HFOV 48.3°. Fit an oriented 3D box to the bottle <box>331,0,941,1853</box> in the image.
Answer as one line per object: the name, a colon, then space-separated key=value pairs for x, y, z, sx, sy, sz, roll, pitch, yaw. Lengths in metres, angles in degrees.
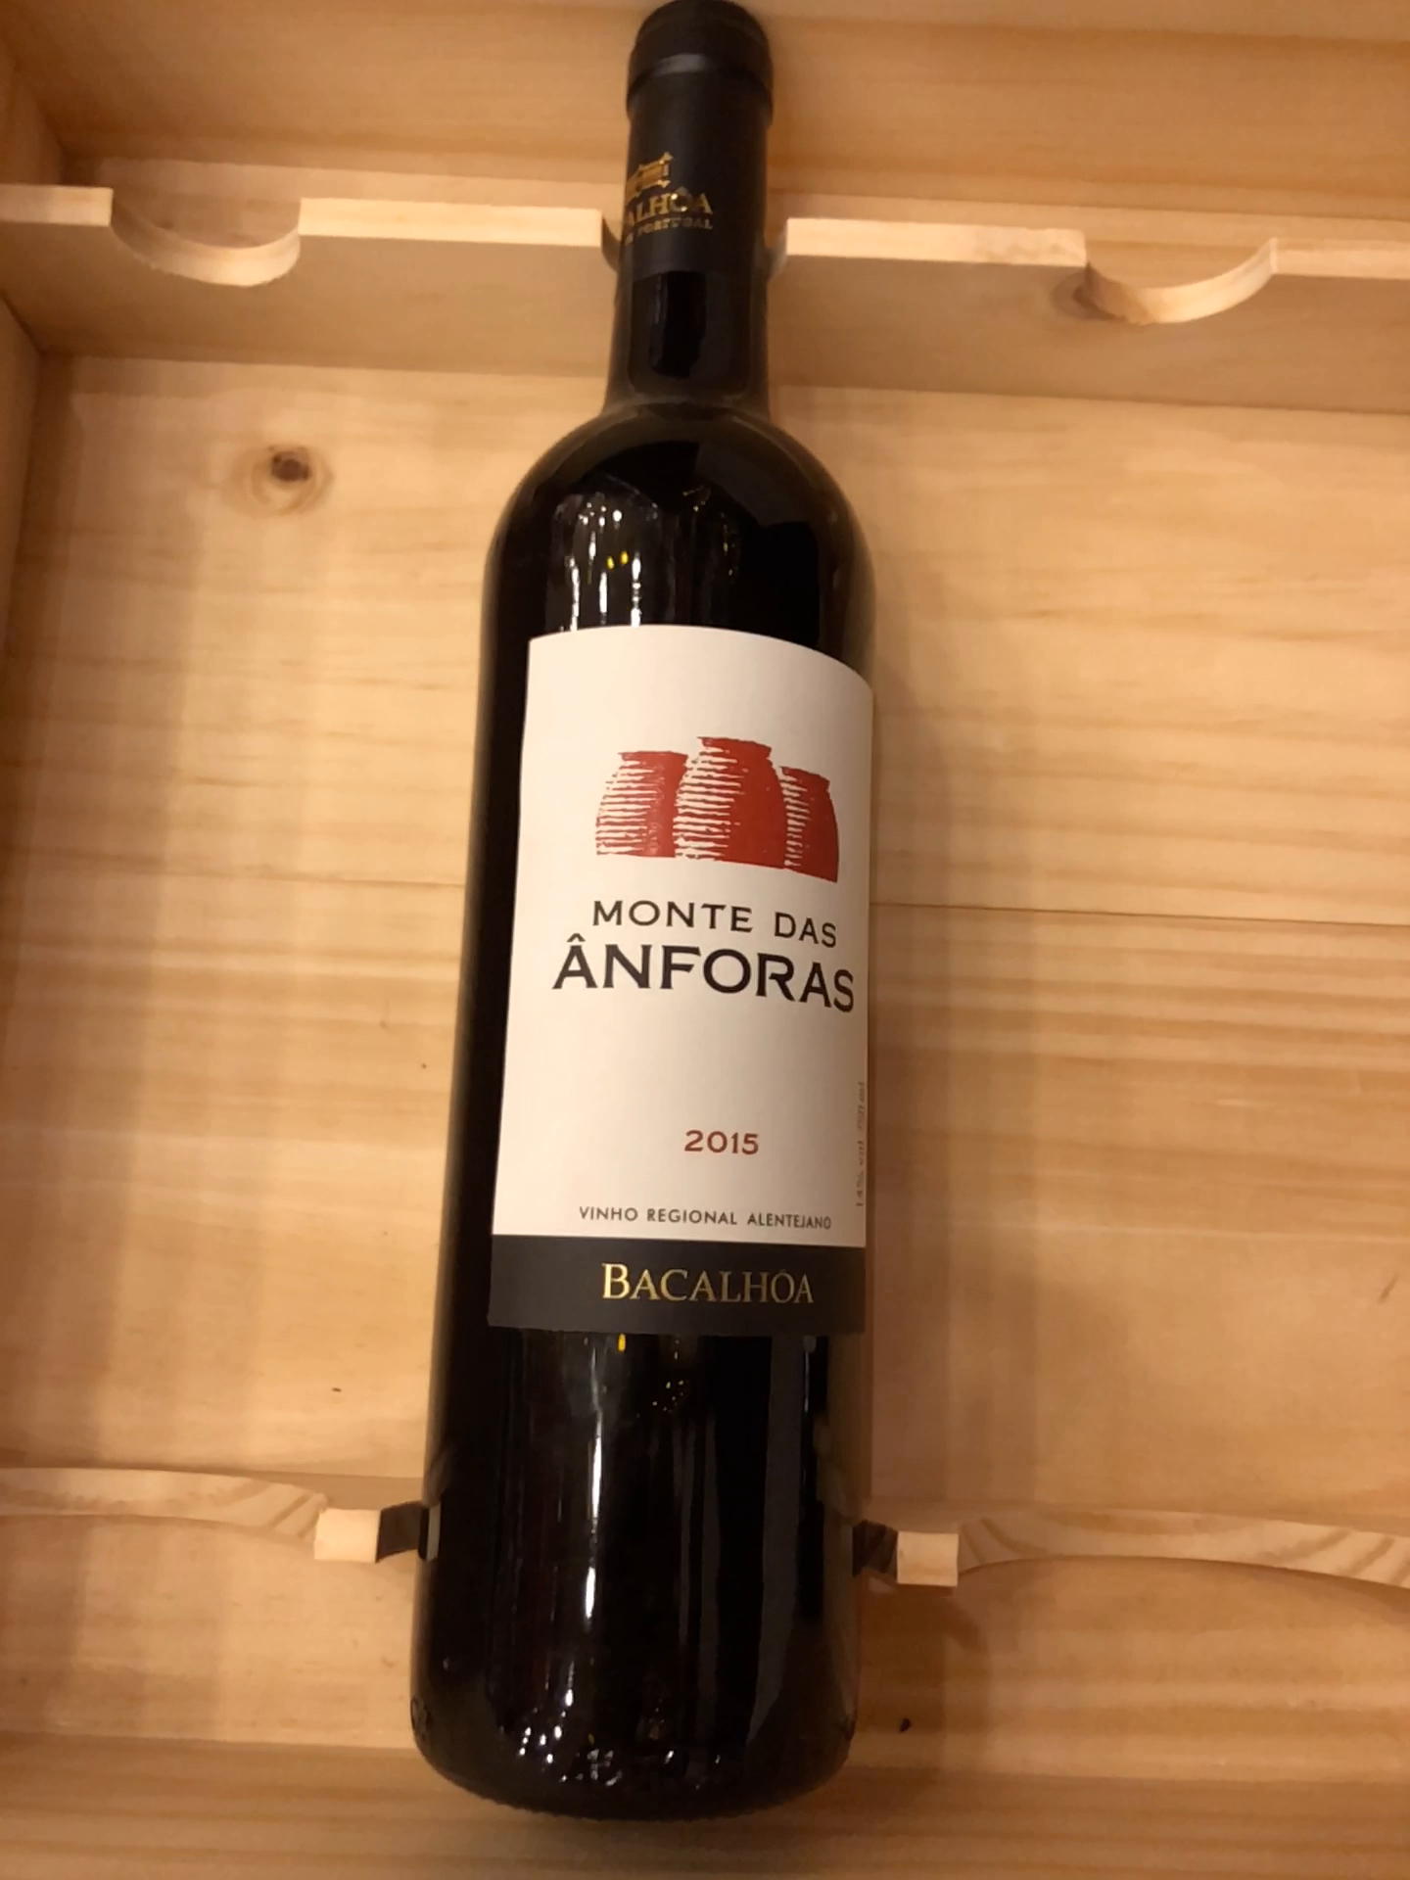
bottle: x=-0.006 y=-0.030 z=0.270 sx=0.080 sy=0.060 sz=0.320 roll=2 pitch=80 yaw=-1
